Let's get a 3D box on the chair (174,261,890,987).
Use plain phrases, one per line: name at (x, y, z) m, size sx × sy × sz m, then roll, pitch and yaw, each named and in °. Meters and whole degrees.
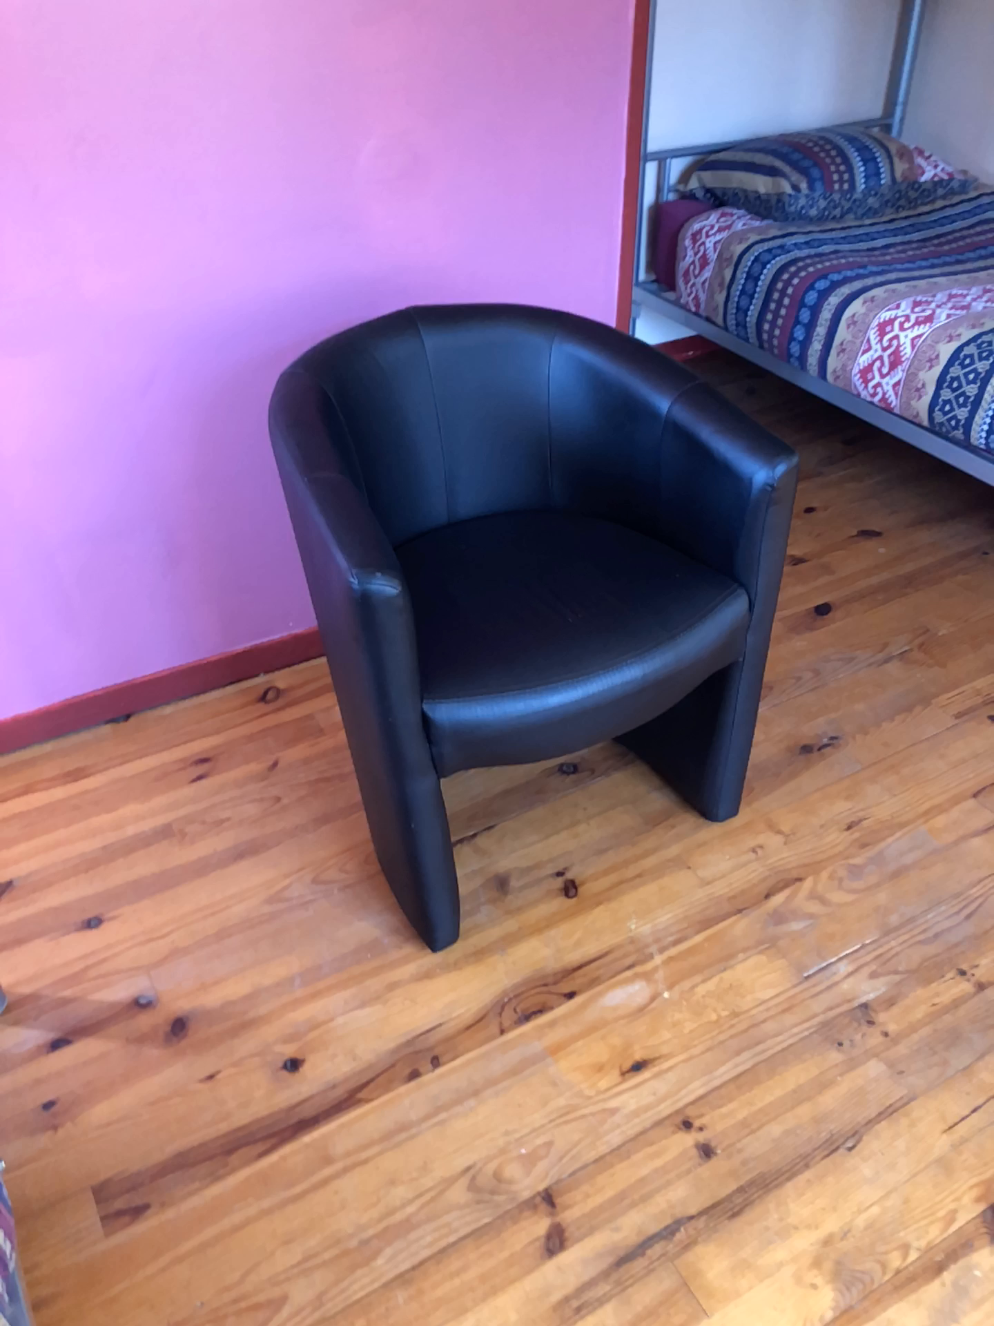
chair at (0.022, -0.104, 1.525) m, size 0.672 × 0.646 × 0.591 m, roll -19°, pitch 41°, yaw -23°
